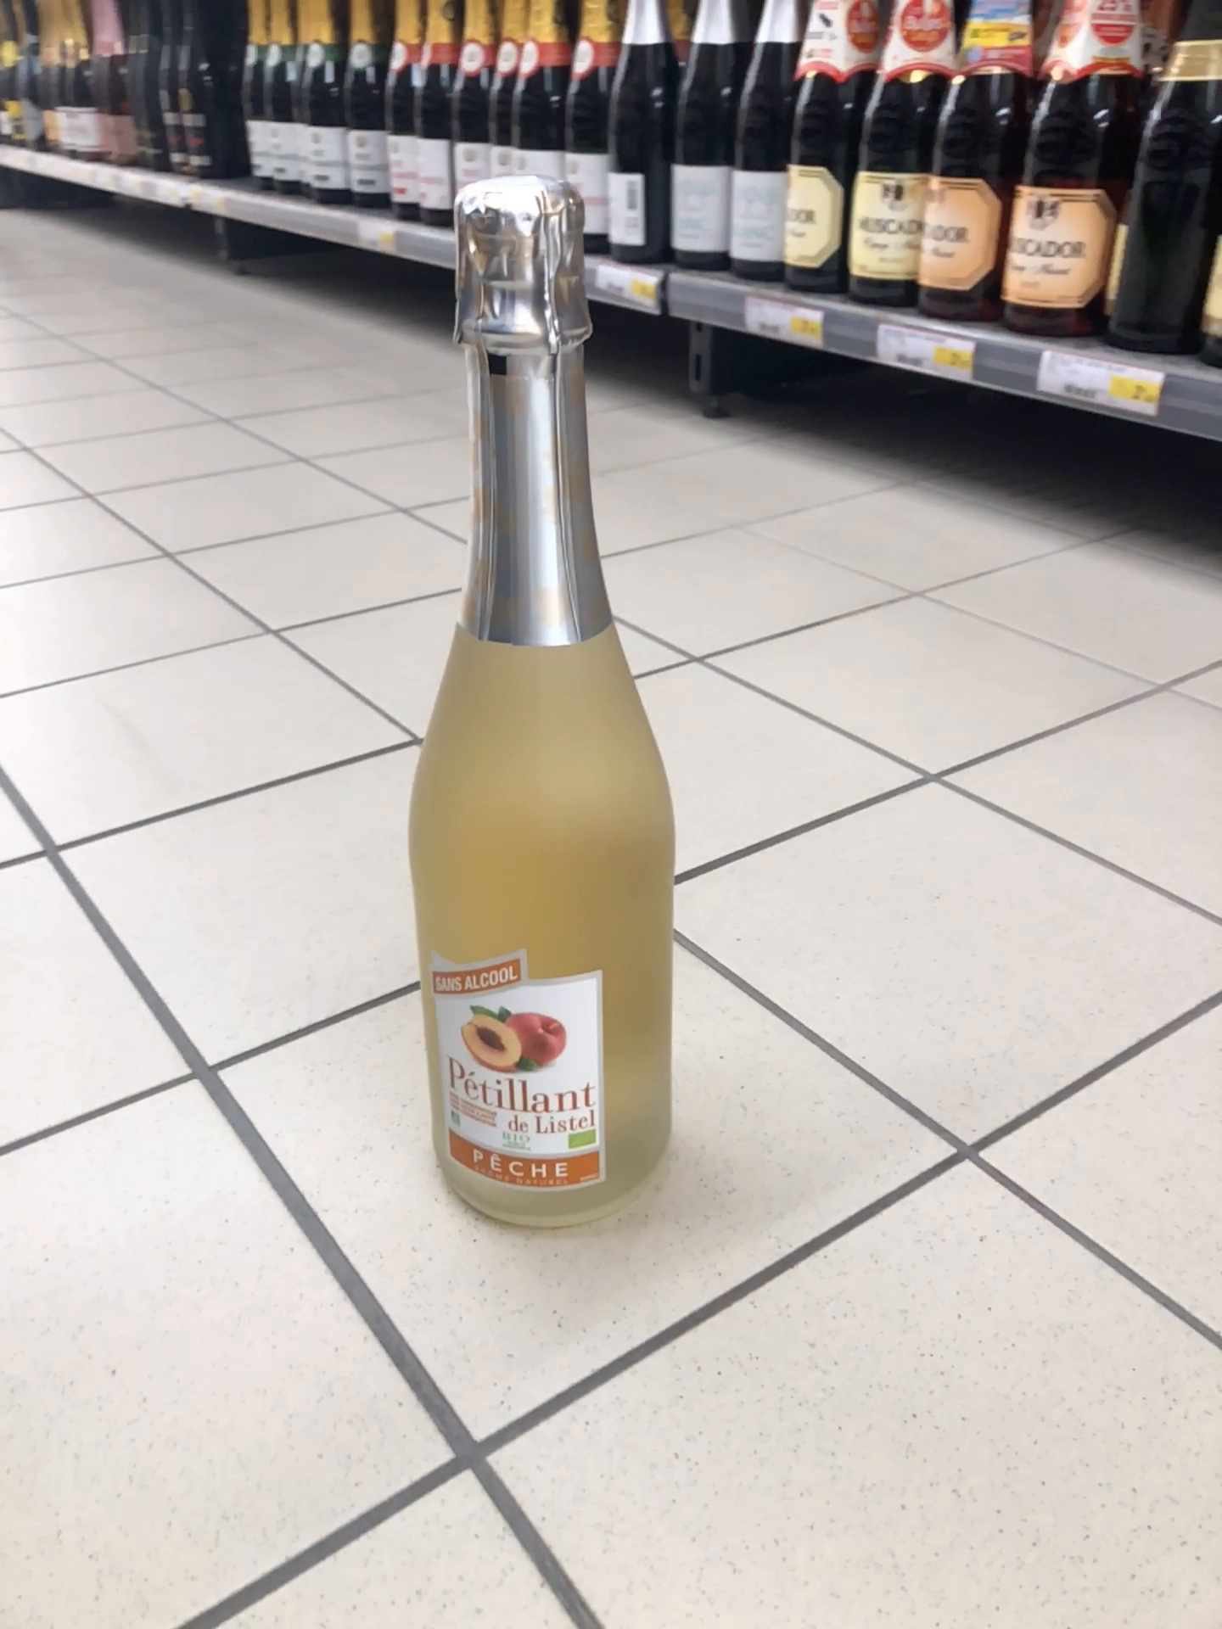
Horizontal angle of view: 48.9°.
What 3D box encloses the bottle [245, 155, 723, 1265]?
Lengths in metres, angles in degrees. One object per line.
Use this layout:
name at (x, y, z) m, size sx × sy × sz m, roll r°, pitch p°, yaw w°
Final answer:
bottle at (-0.025, -0.022, 0.398) m, size 0.090 × 0.308 × 0.091 m, roll 0°, pitch 28°, yaw 0°
